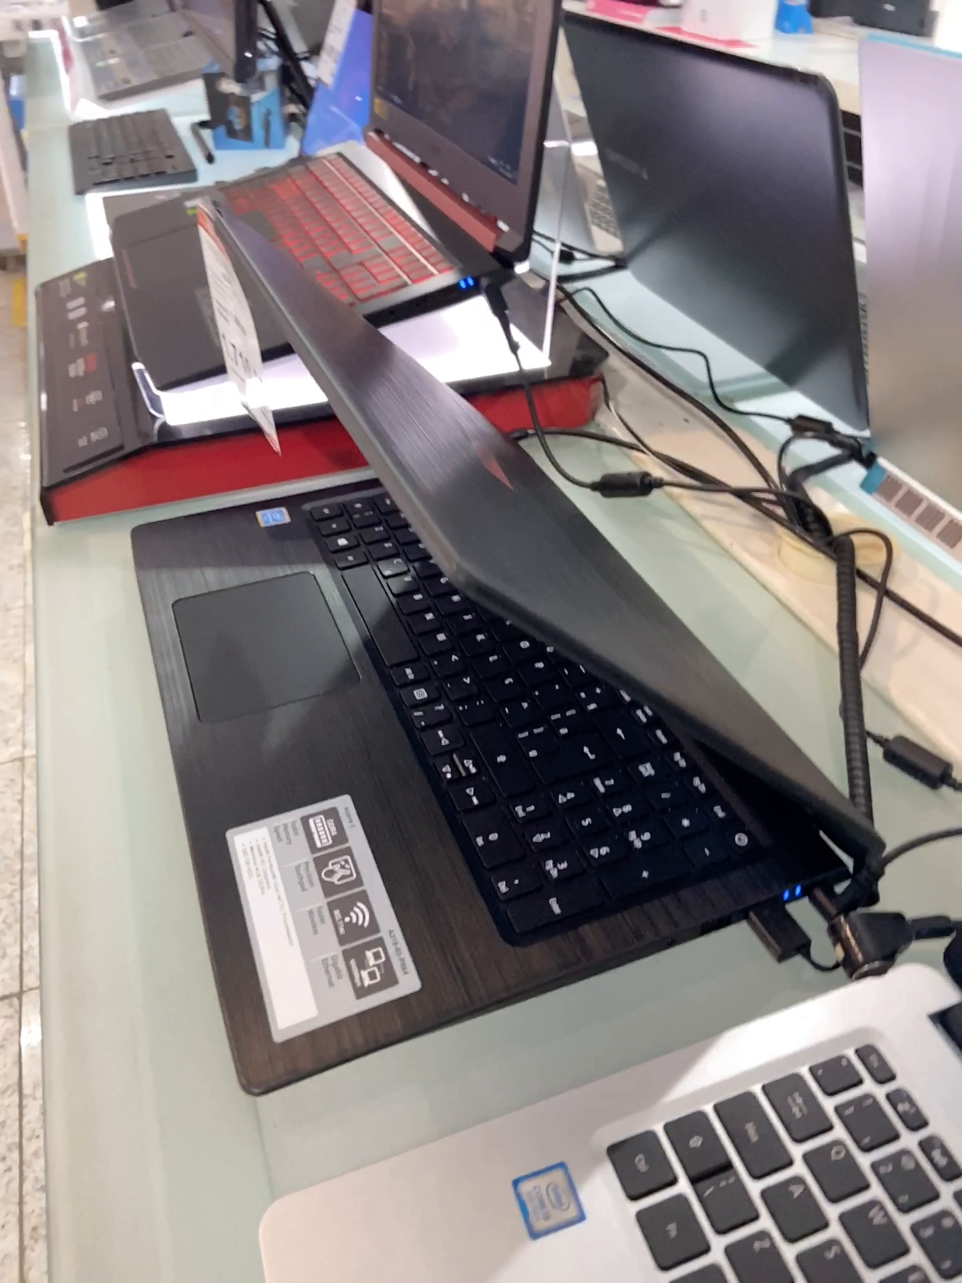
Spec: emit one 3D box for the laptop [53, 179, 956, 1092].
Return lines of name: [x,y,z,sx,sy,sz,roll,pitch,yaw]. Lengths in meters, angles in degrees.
laptop: [-0.040,-0.056,0.444,0.230,0.169,0.377,-16,40,-15]

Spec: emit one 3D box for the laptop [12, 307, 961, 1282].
laptop: [0.141,0.150,0.127,0.313,0.227,0.364,-13,39,-14]
